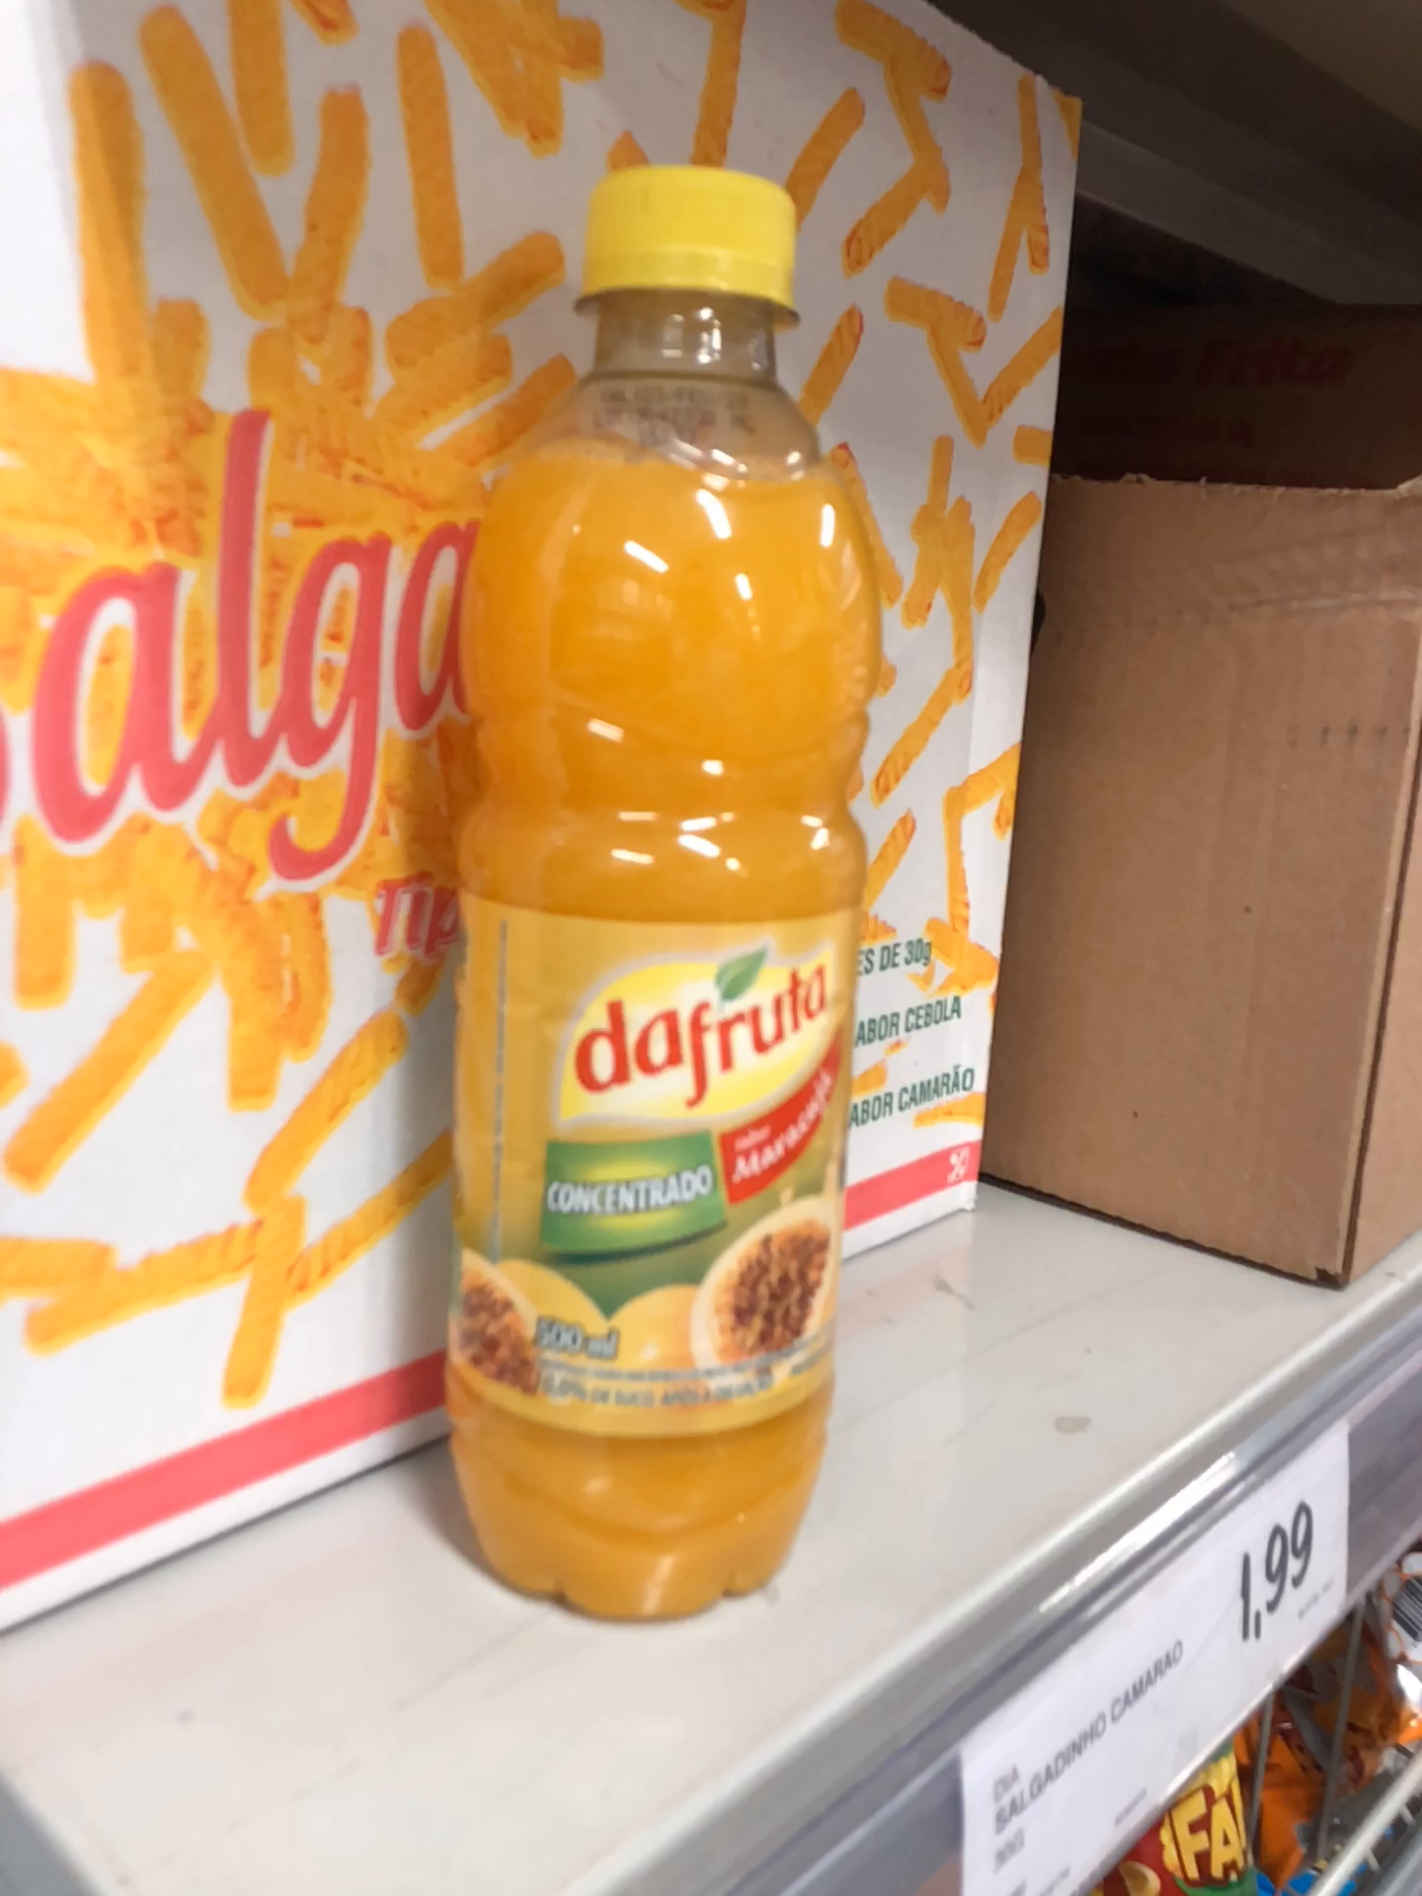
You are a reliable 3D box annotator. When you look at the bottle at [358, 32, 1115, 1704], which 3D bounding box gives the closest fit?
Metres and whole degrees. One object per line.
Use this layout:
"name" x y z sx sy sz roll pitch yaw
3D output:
"bottle" -0.003 -0.007 0.227 0.070 0.199 0.060 -3 16 -32
